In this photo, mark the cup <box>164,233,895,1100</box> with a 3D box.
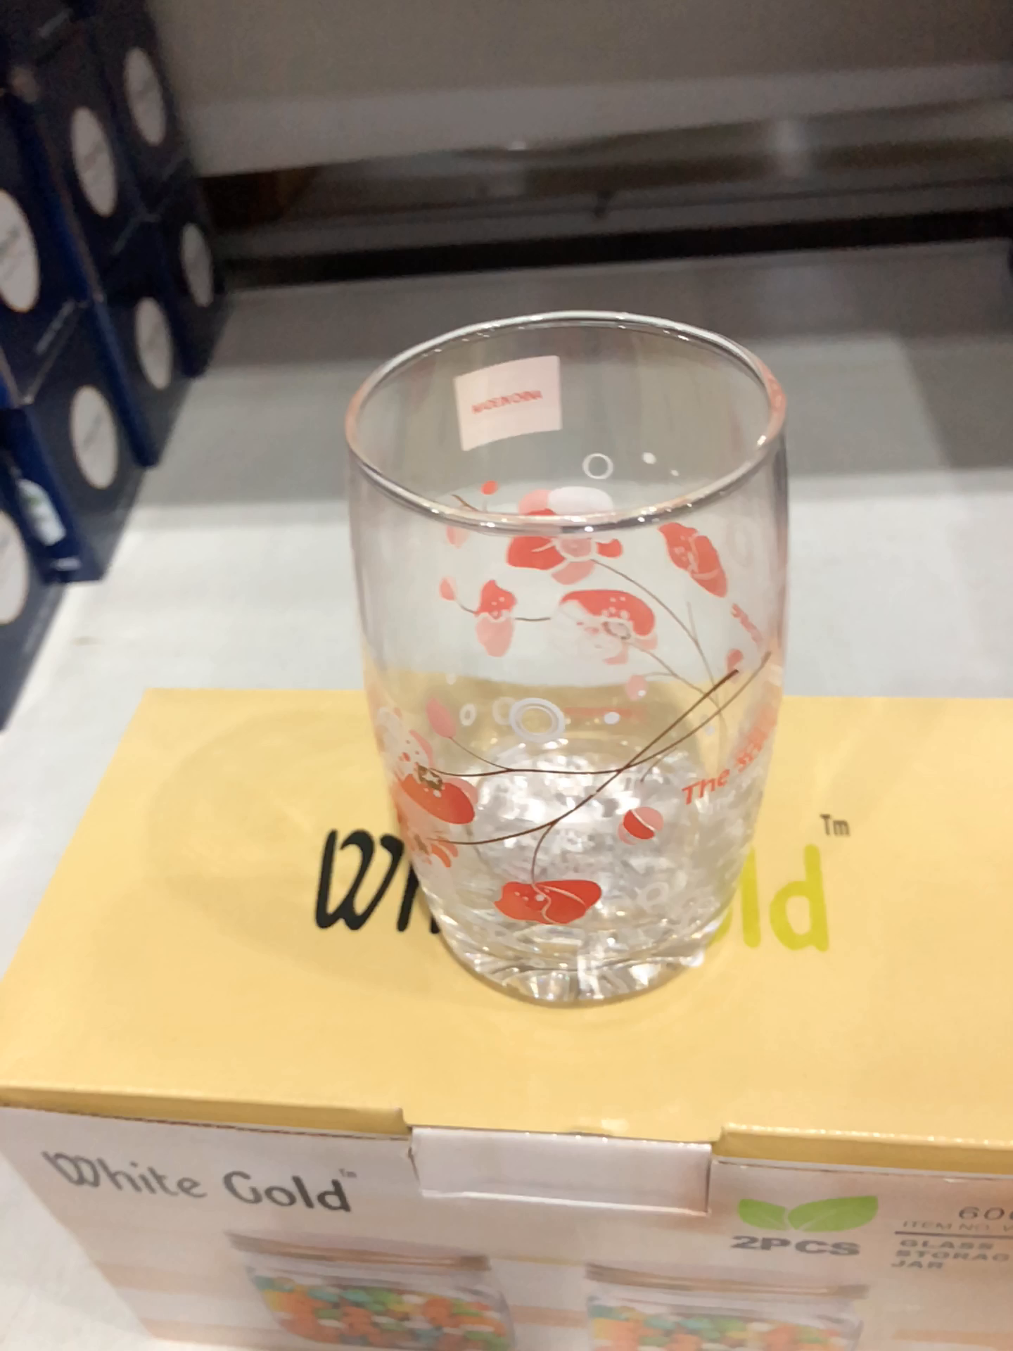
[{"bbox_3d":[0.013,-0.002,0.191,0.080,0.109,0.080,-4,43,3],"label":"cup"}]
